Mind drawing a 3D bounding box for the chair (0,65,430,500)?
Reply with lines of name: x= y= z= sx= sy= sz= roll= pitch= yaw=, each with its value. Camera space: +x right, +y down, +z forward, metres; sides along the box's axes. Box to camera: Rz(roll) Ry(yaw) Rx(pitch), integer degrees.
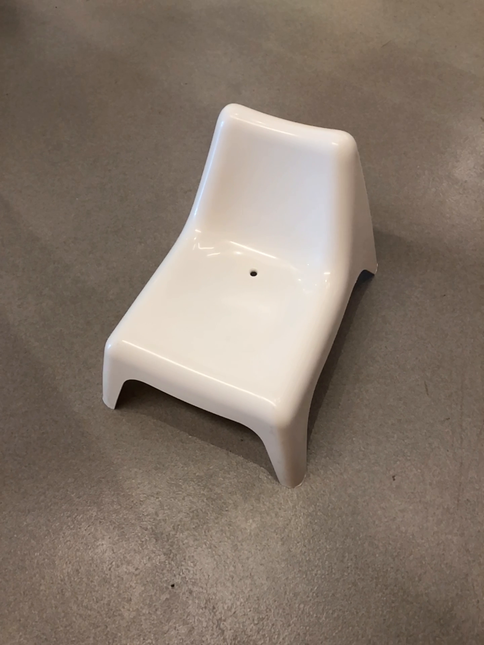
chair: x=-0.003 y=-0.101 z=1.122 sx=0.530 sy=0.399 sz=0.690 roll=19 pitch=64 yaw=14
